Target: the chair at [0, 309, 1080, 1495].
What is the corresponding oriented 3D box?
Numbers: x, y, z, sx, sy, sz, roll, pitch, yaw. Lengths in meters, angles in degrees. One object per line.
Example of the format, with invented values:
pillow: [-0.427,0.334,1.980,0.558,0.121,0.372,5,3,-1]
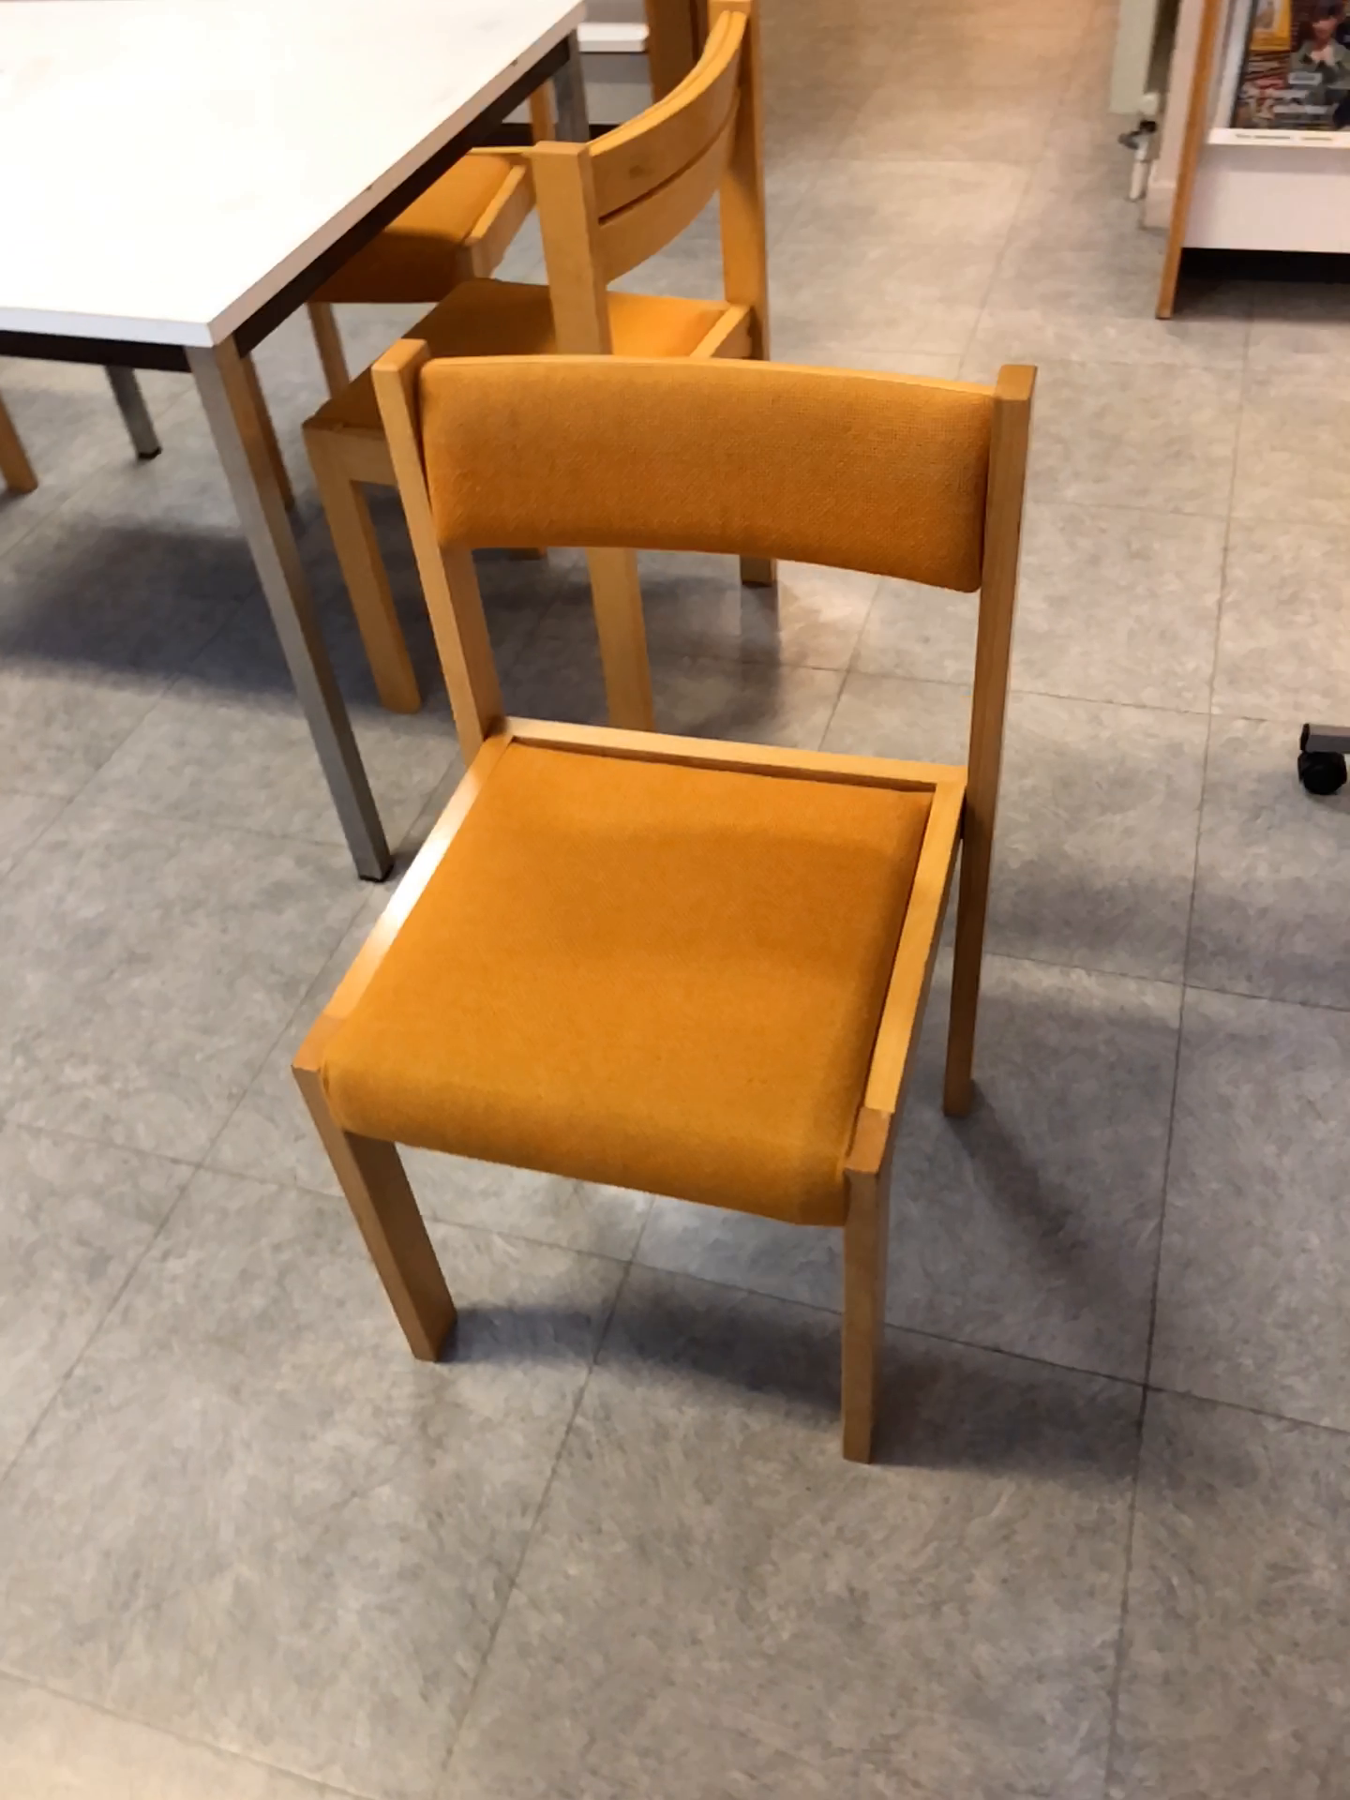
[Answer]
chair: [-0.026,0.001,1.163,0.550,0.696,0.523,9,46,15]
